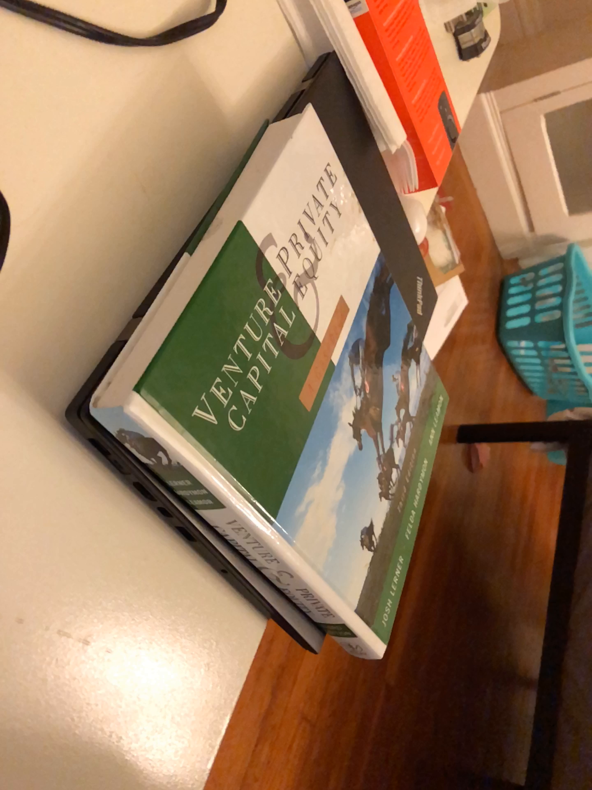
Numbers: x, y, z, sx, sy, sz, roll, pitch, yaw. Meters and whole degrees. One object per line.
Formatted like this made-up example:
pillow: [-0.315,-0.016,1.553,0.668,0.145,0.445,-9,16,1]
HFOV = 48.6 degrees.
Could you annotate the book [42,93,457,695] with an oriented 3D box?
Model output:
book: [0.016,0.011,0.379,0.271,0.030,0.221,54,45,-38]
